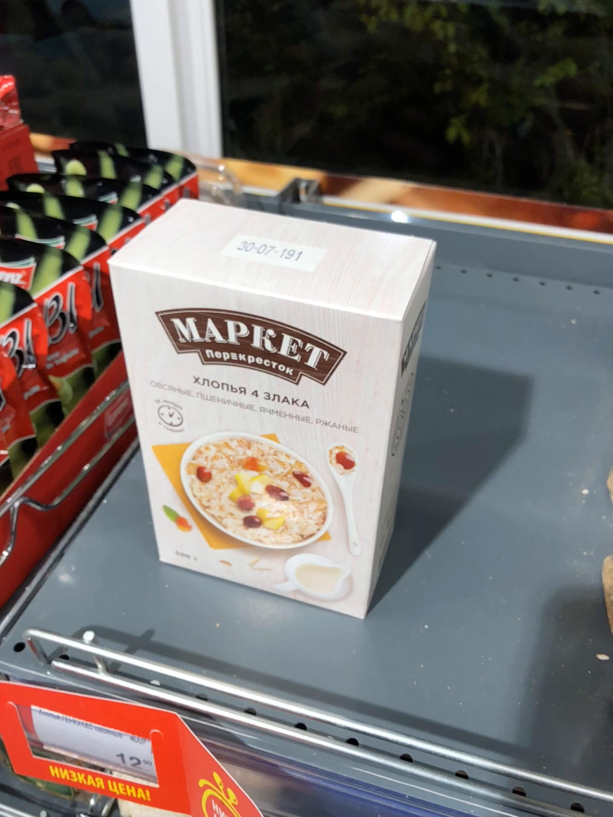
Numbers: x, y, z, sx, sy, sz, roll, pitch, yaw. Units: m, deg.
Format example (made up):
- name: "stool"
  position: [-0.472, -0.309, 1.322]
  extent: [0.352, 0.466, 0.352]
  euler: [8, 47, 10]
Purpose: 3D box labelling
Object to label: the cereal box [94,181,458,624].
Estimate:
- name: "cereal box"
  position: [-0.011, 0.003, 0.333]
  extent: [0.130, 0.189, 0.070]
  euler: [12, 40, 12]
